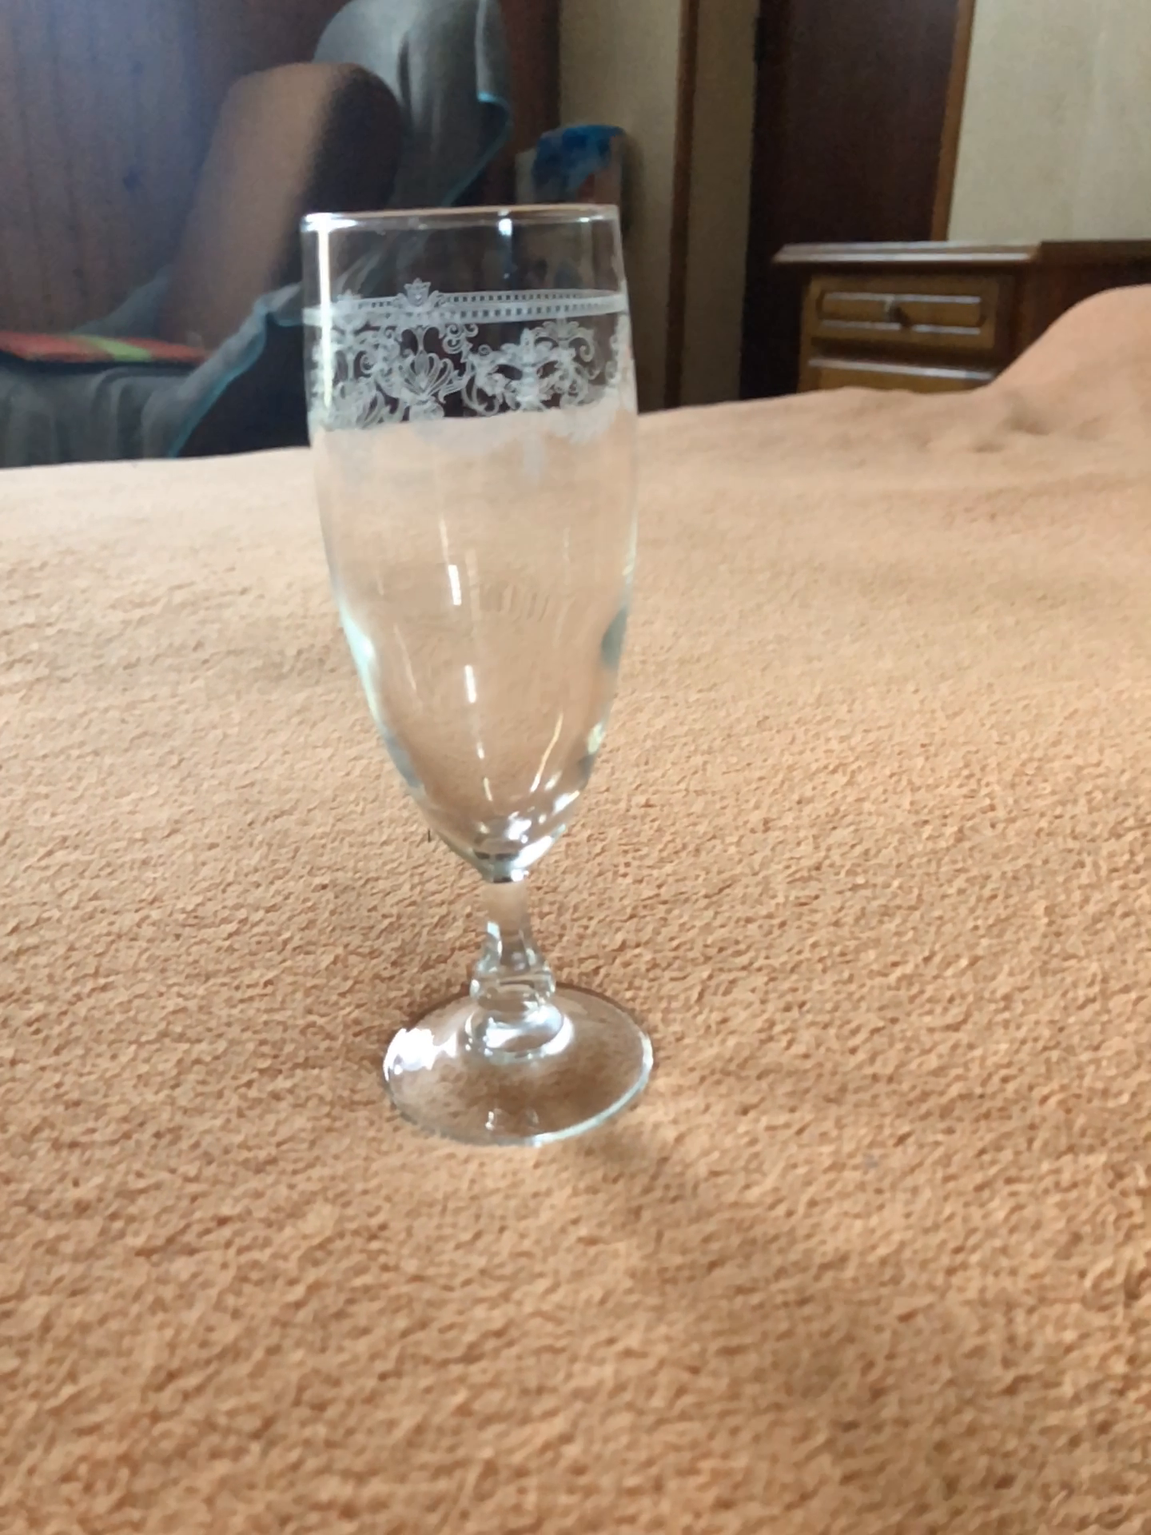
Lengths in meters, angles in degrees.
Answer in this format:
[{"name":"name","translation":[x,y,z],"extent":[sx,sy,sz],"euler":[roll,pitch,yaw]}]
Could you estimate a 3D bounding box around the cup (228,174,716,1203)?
[{"name":"cup","translation":[-0.011,-0.013,0.221],"extent":[0.060,0.159,0.060],"euler":[0,21,0]}]
